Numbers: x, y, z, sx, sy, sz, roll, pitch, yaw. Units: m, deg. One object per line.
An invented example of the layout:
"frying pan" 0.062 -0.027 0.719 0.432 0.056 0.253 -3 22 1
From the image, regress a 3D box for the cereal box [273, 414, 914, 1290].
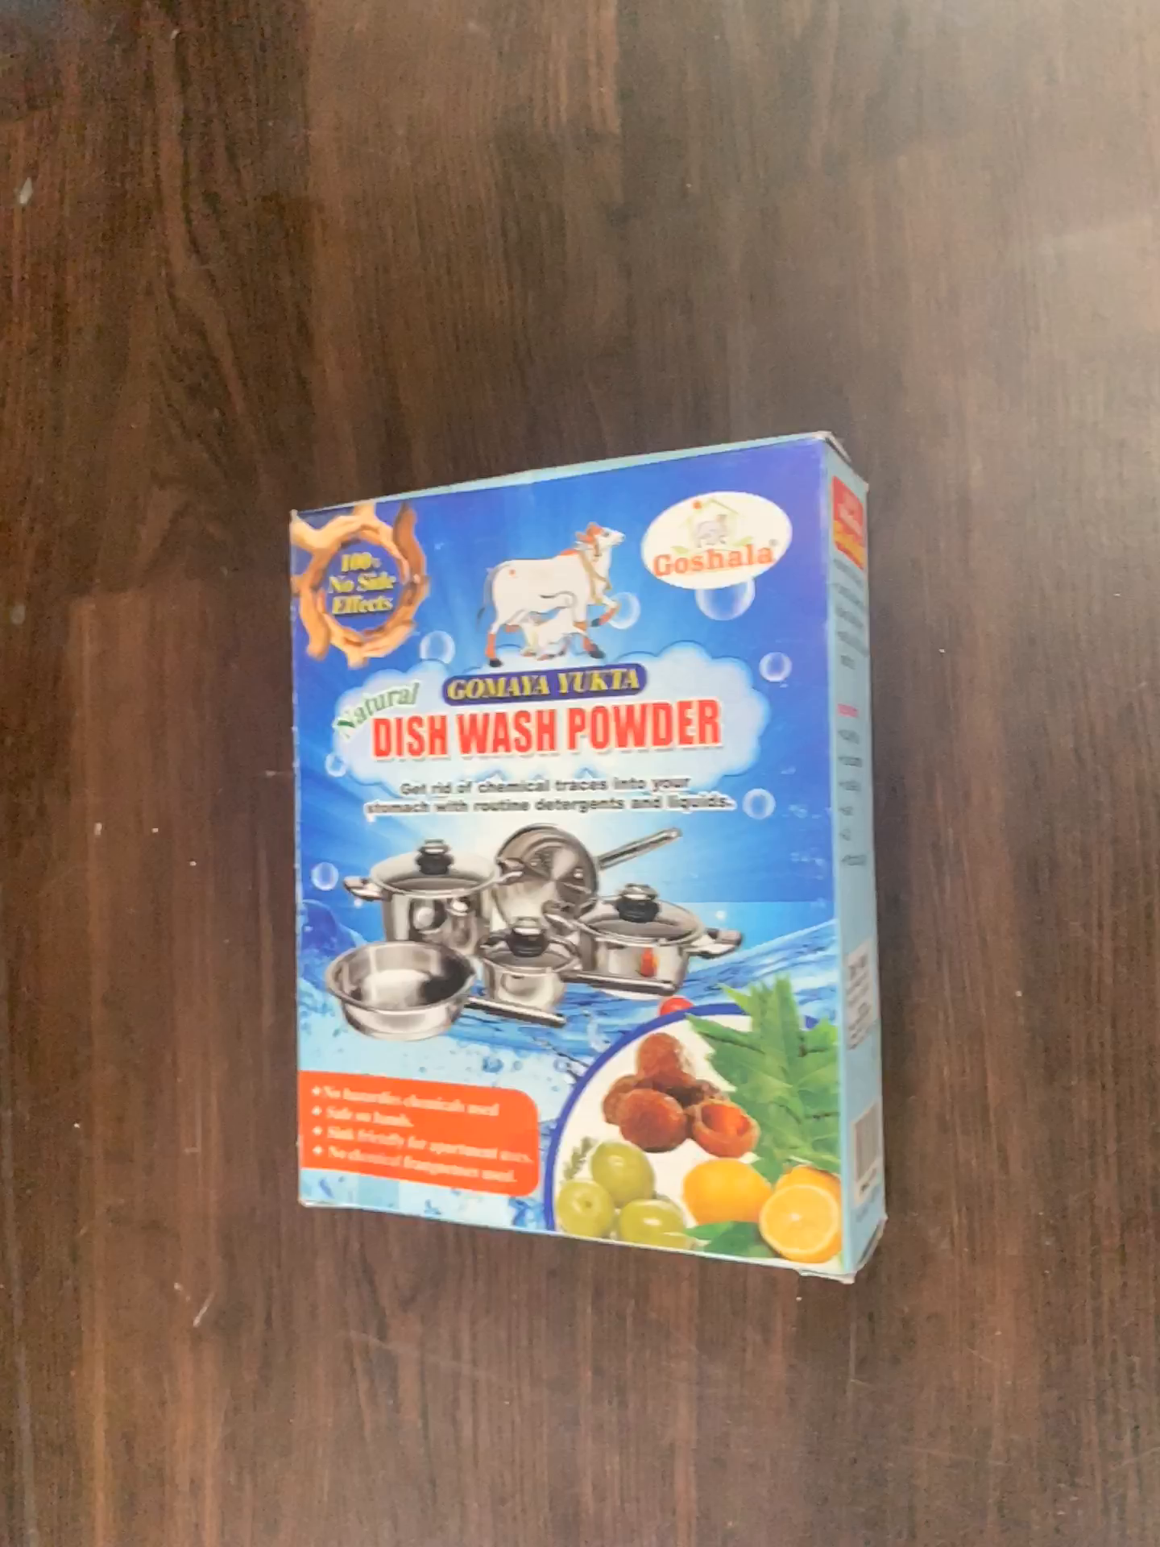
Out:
"cereal box" 0.002 0.017 0.291 0.141 0.060 0.170 -2 86 26
